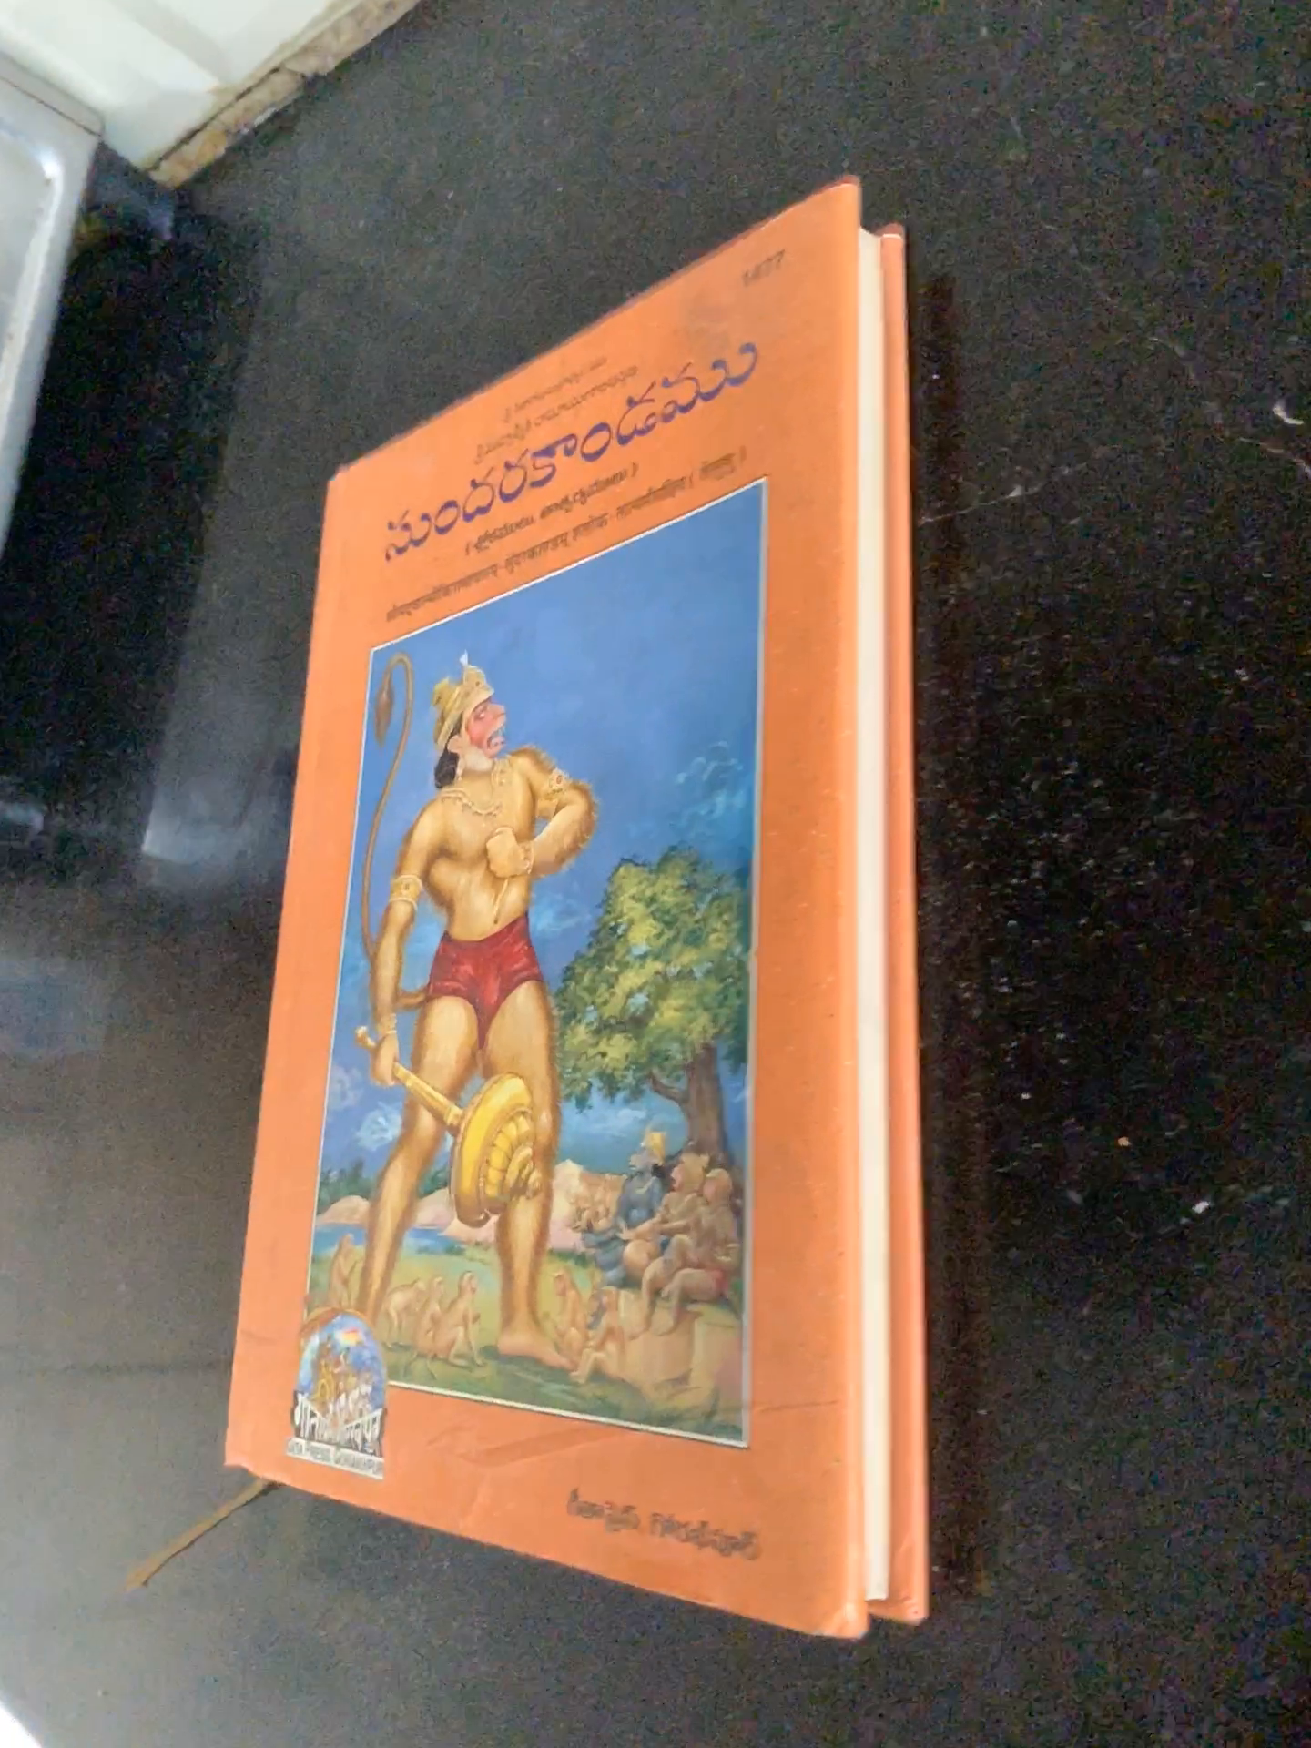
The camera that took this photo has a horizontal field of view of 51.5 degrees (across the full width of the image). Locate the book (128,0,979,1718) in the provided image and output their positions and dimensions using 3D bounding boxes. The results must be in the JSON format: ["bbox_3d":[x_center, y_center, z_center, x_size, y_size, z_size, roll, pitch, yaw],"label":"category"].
[{"bbox_3d":[-0.029,-0.011,0.307,0.201,0.040,0.301,-11,70,41],"label":"book"}]
